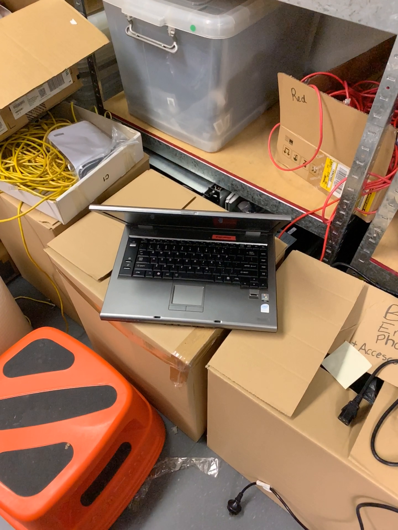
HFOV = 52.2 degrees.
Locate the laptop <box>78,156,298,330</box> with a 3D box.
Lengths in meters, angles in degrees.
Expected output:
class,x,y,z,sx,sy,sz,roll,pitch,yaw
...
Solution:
class,x,y,z,sx,sy,sz,roll,pitch,yaw
laptop,-0.011,-0.047,0.804,0.352,0.203,0.254,4,52,5
